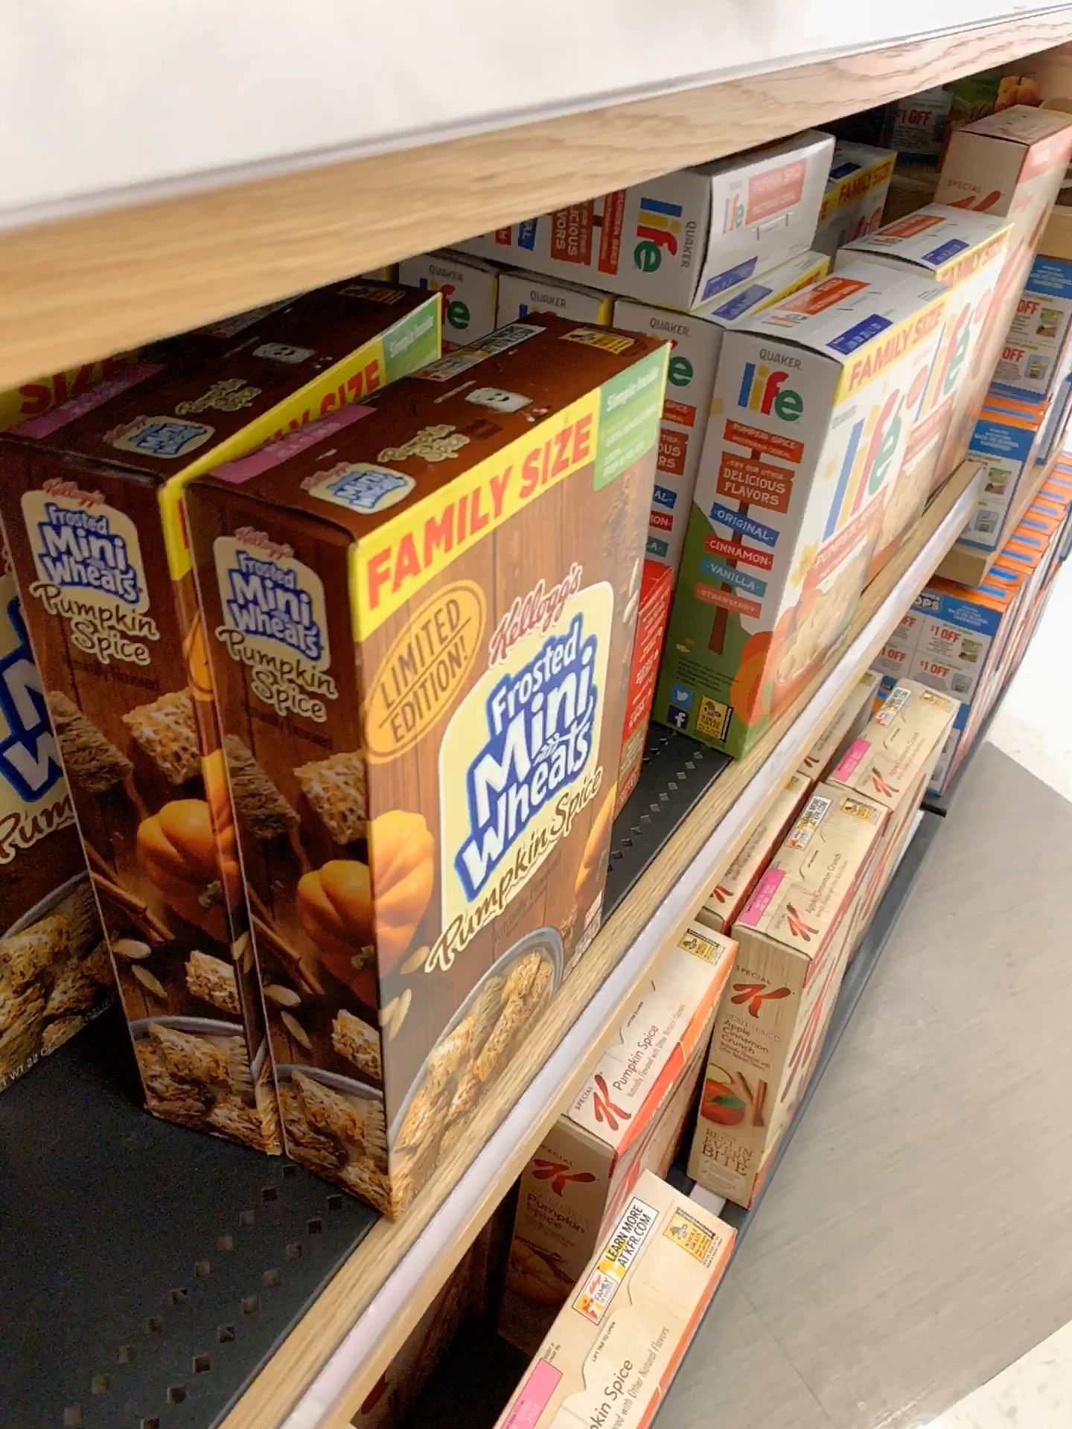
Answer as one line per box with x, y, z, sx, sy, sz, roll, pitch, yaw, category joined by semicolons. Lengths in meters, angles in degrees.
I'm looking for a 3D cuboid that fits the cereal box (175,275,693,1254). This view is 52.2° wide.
-0.020;0.022;0.409;0.050;0.308;0.201;19;39;21;cereal box
